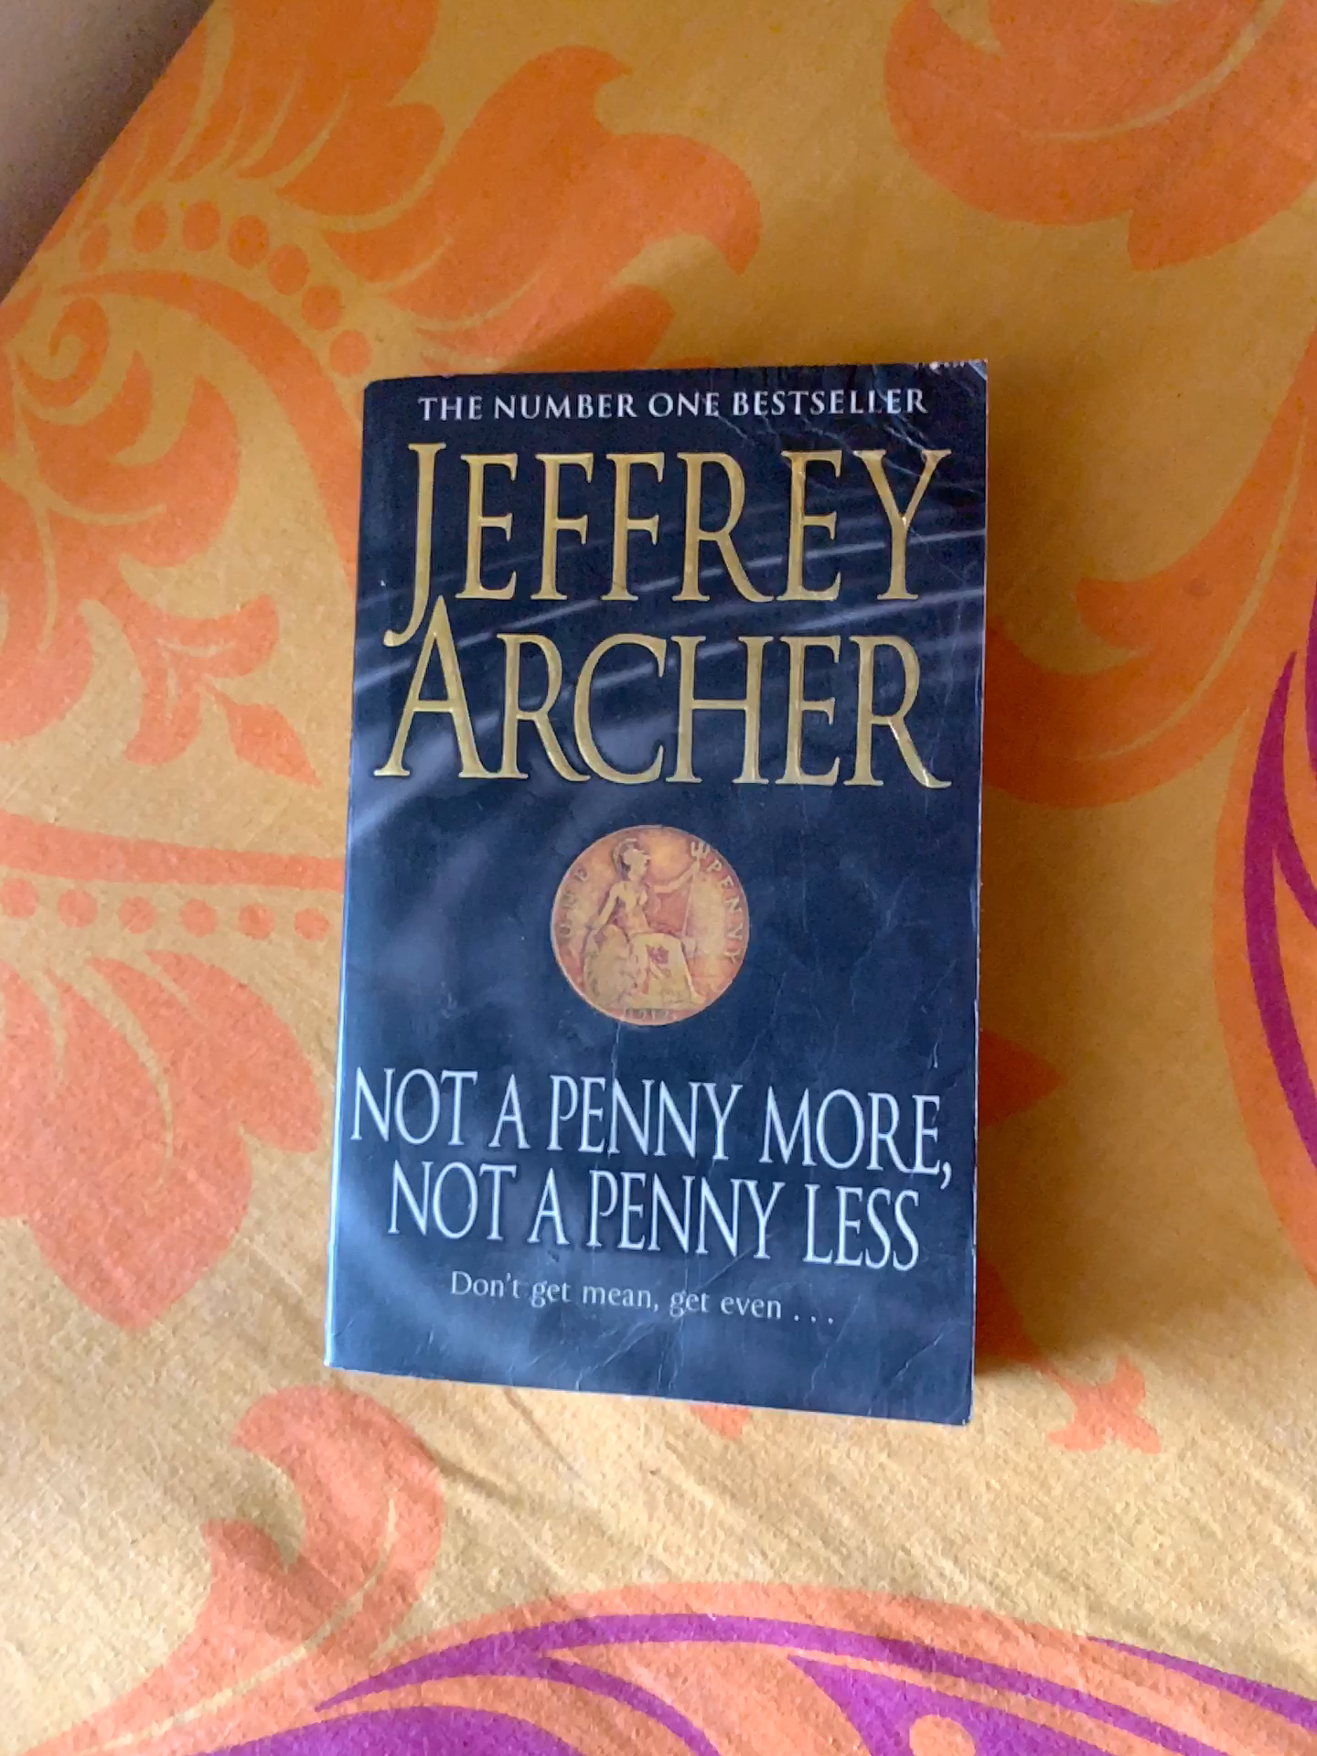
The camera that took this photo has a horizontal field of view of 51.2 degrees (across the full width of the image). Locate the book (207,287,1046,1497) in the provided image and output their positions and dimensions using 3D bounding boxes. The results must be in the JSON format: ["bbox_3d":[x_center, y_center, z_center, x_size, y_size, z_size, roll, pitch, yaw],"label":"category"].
[{"bbox_3d":[-0.002,-0.002,0.204,0.110,0.030,0.160,2,85,8],"label":"book"}]
